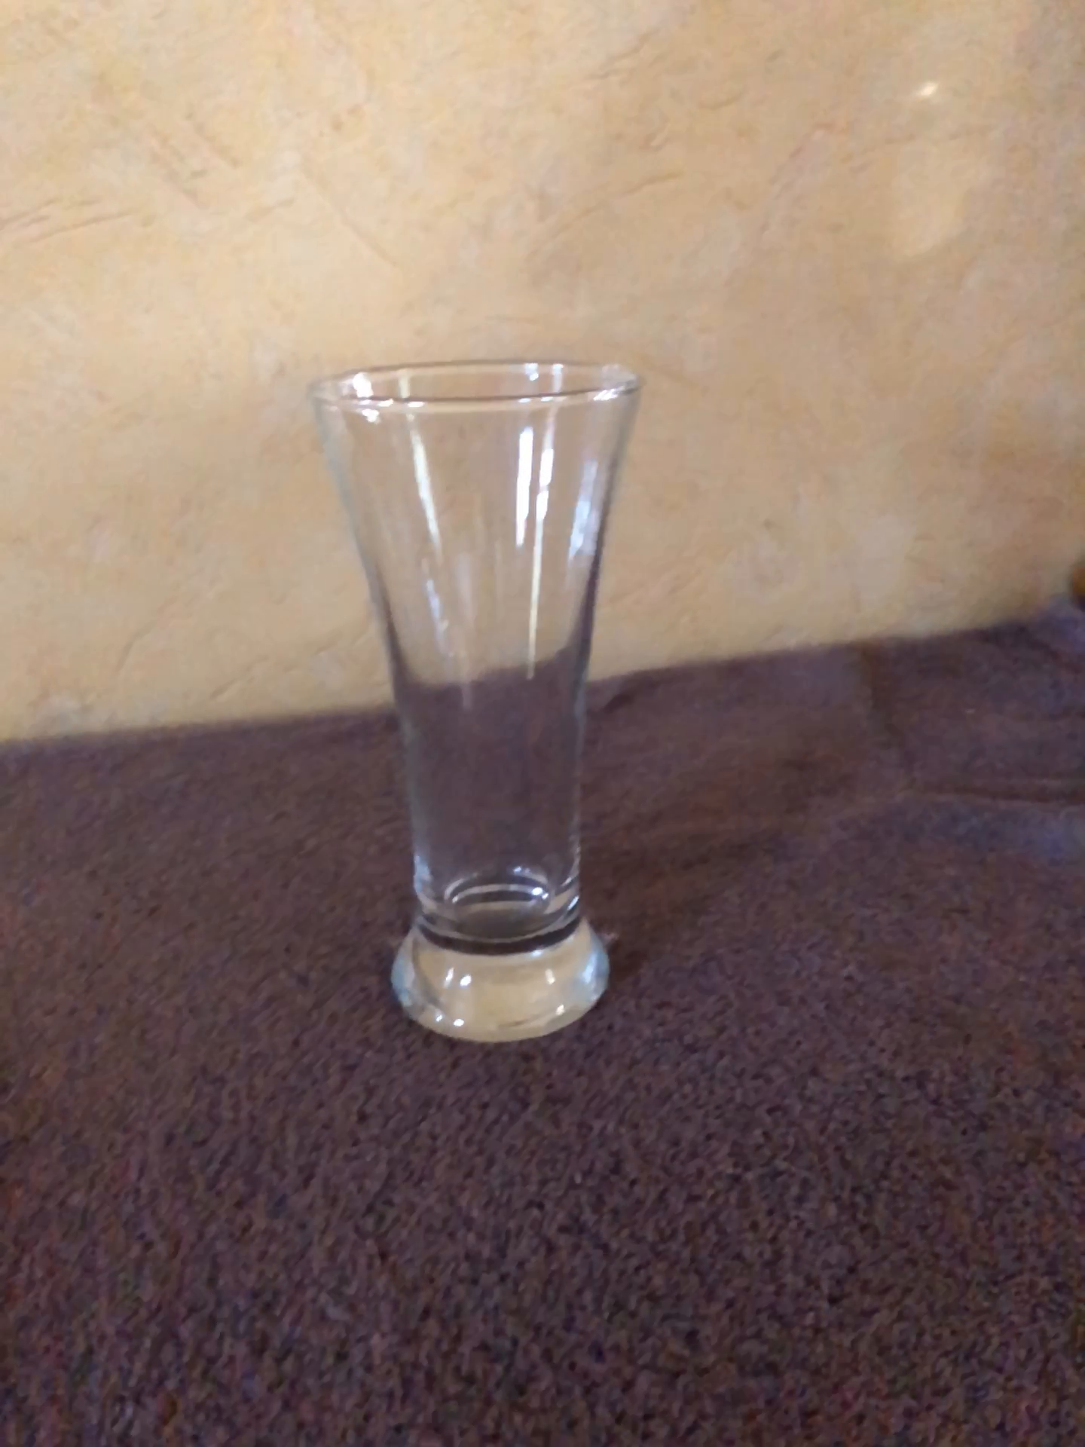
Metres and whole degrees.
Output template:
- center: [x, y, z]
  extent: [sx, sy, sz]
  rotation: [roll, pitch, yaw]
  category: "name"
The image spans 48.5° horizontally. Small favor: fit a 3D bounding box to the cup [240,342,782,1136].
- center: [-0.006, -0.005, 0.277]
  extent: [0.080, 0.149, 0.080]
  rotation: [-1, 22, 1]
  category: "cup"
